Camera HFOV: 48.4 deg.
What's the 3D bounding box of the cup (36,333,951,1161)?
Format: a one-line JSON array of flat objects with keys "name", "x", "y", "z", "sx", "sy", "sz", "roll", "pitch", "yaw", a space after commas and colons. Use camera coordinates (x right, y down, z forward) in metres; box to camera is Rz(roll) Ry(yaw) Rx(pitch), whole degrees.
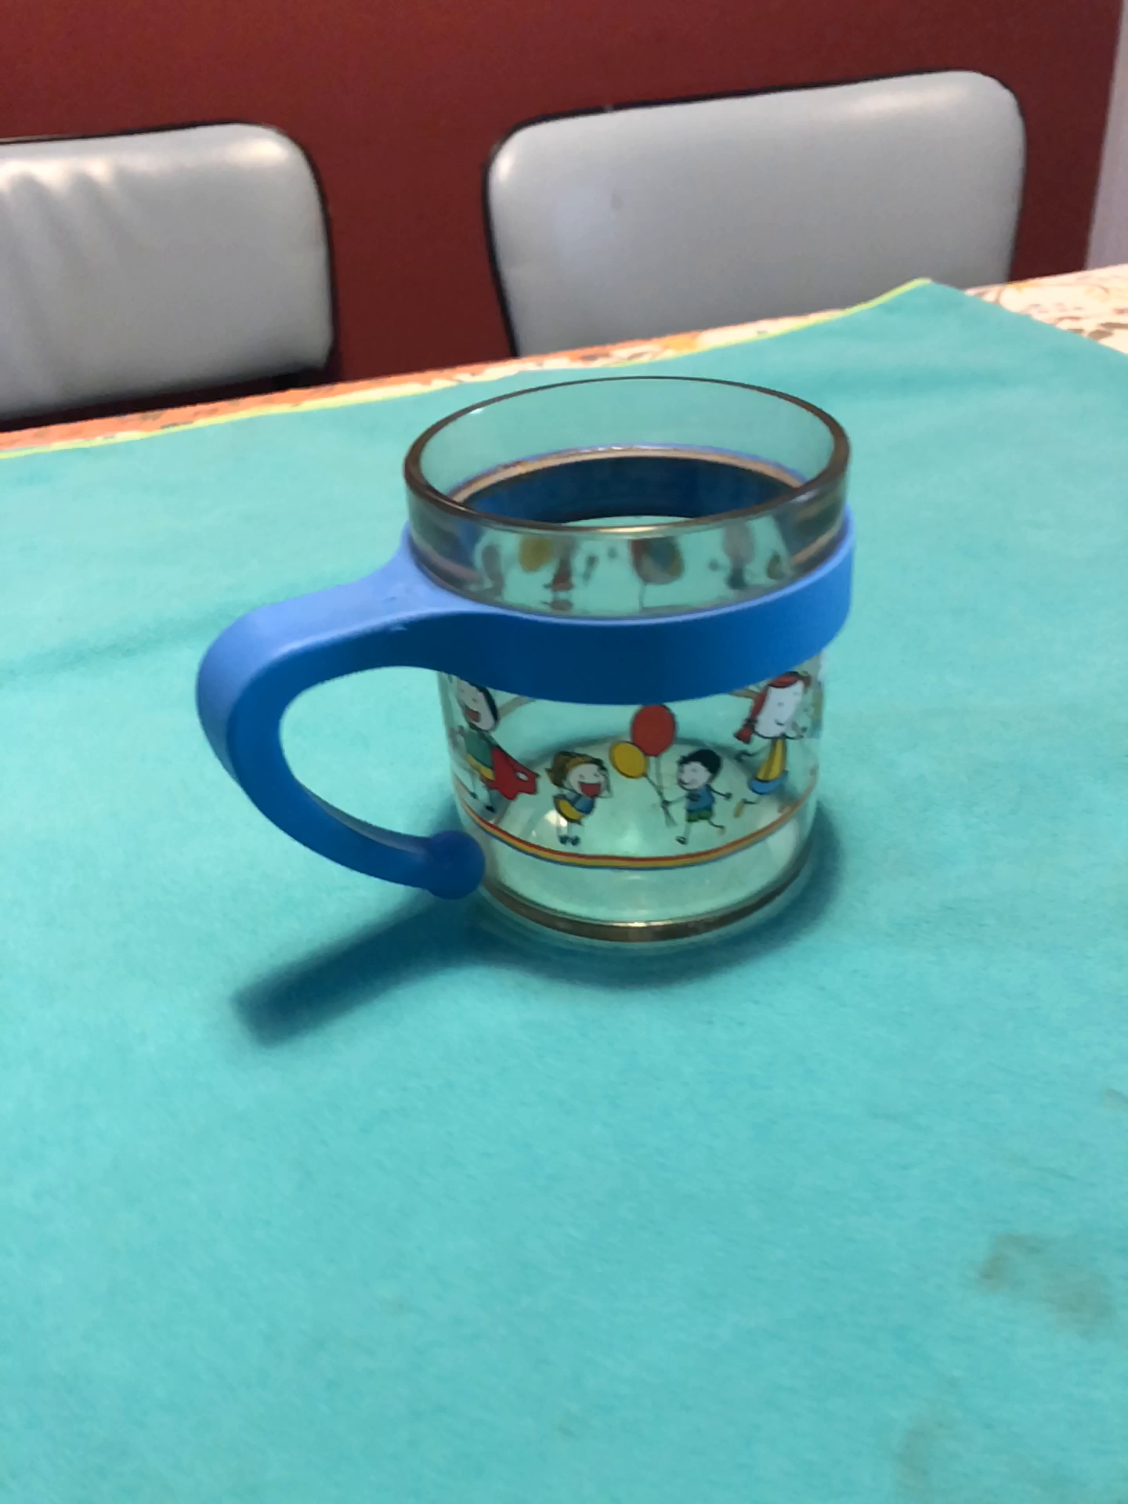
[{"name": "cup", "x": -0.011, "y": -0.013, "z": 0.240, "sx": 0.130, "sy": 0.089, "sz": 0.090, "roll": -22, "pitch": 37, "yaw": -25}]
